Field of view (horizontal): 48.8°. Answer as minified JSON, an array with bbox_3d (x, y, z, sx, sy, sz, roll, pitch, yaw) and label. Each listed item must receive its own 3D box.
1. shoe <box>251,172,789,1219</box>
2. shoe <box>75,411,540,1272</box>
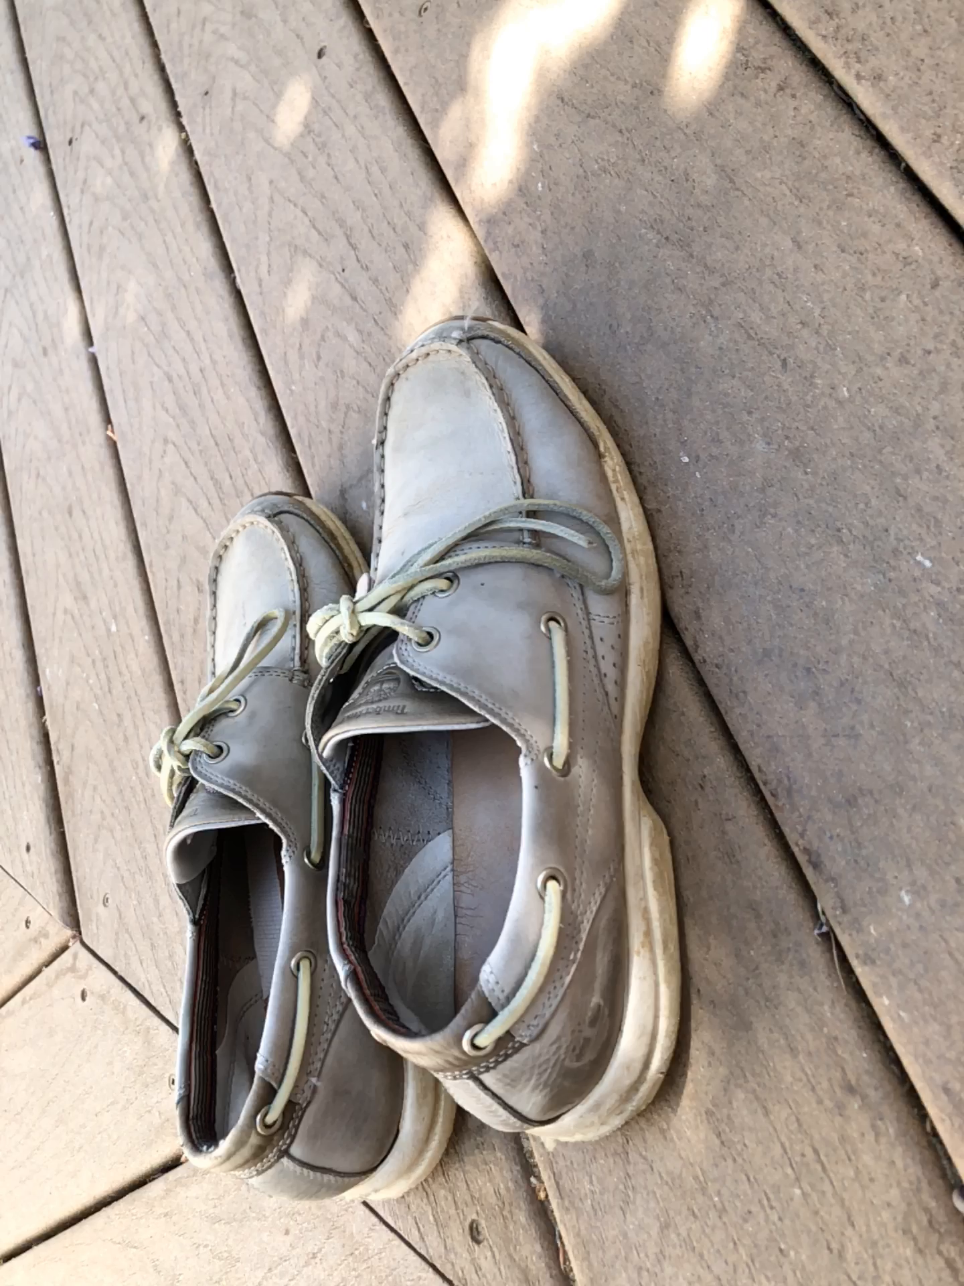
[{"bbox_3d":[0.000,0.016,0.378,0.122,0.097,0.312,-22,66,39],"label":"shoe"},{"bbox_3d":[-0.088,0.073,0.451,0.119,0.095,0.310,-33,60,35],"label":"shoe"}]
